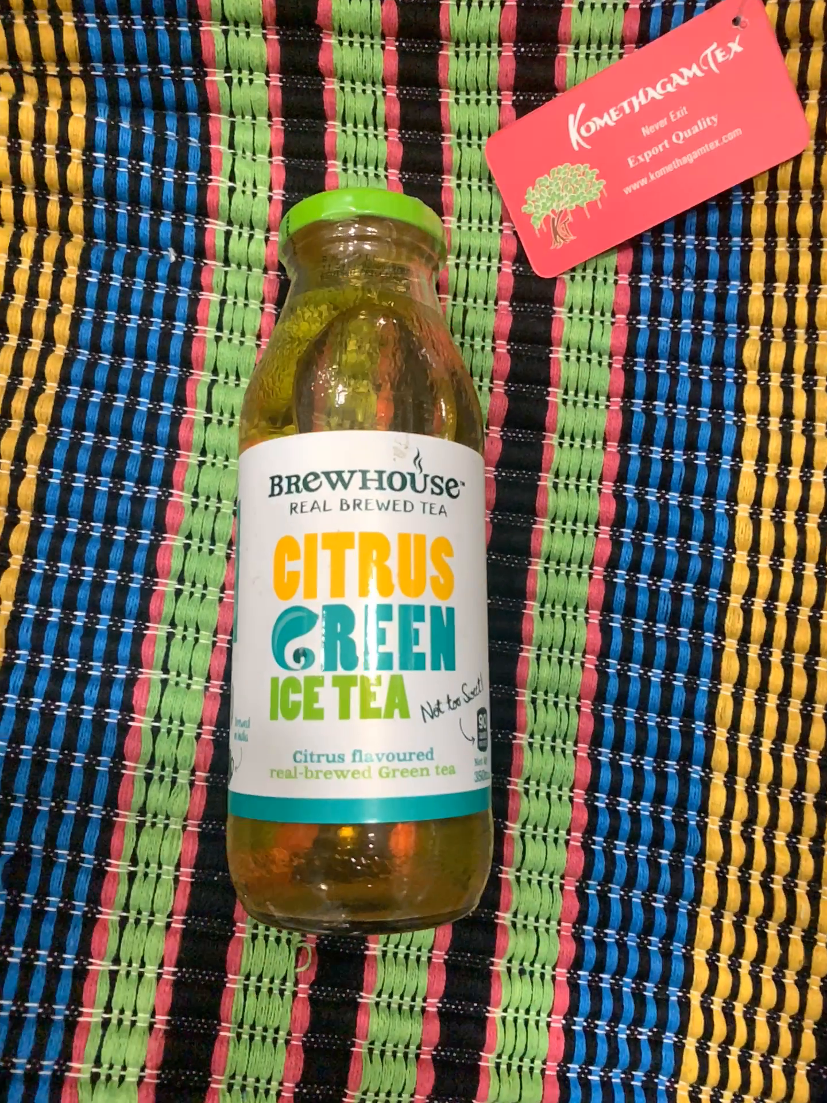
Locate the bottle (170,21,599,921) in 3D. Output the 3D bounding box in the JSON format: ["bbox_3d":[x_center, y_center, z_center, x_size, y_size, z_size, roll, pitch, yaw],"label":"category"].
[{"bbox_3d":[-0.008,-0.017,0.213,0.080,0.070,0.190,3,77,-10],"label":"bottle"}]
